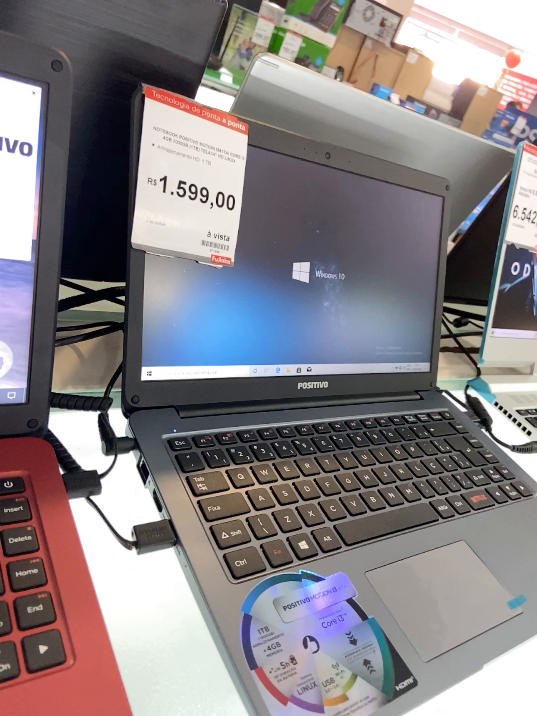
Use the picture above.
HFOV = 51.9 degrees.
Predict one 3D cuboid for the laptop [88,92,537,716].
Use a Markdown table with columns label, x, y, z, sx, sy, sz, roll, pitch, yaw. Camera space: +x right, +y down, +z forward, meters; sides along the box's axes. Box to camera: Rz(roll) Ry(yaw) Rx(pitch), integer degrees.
| label | x | y | z | sx | sy | sz | roll | pitch | yaw |
| --- | --- | --- | --- | --- | --- | --- | --- | --- | --- |
| laptop | 0.093 | -0.004 | 0.377 | 0.320 | 0.171 | 0.324 | 1 | 36 | -36 |
